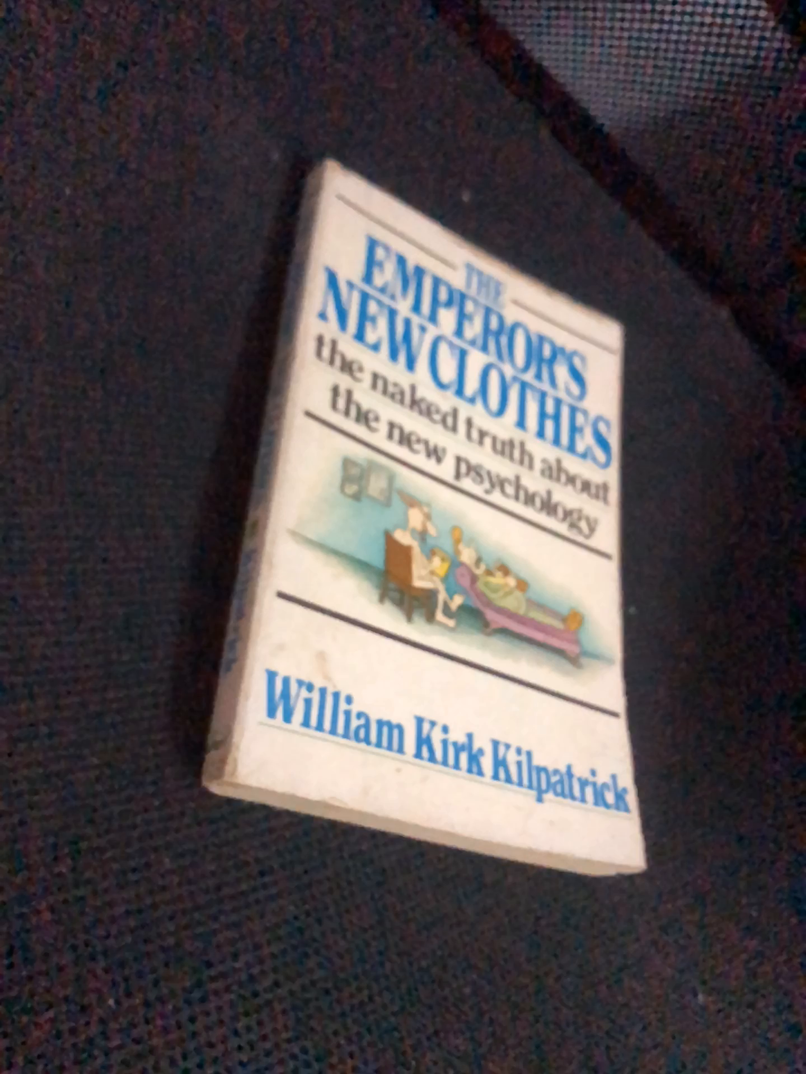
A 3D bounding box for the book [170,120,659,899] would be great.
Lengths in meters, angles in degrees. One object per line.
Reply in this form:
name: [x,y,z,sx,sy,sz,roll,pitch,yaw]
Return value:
book: [0.019,-0.016,0.297,0.145,0.020,0.230,23,55,-28]
